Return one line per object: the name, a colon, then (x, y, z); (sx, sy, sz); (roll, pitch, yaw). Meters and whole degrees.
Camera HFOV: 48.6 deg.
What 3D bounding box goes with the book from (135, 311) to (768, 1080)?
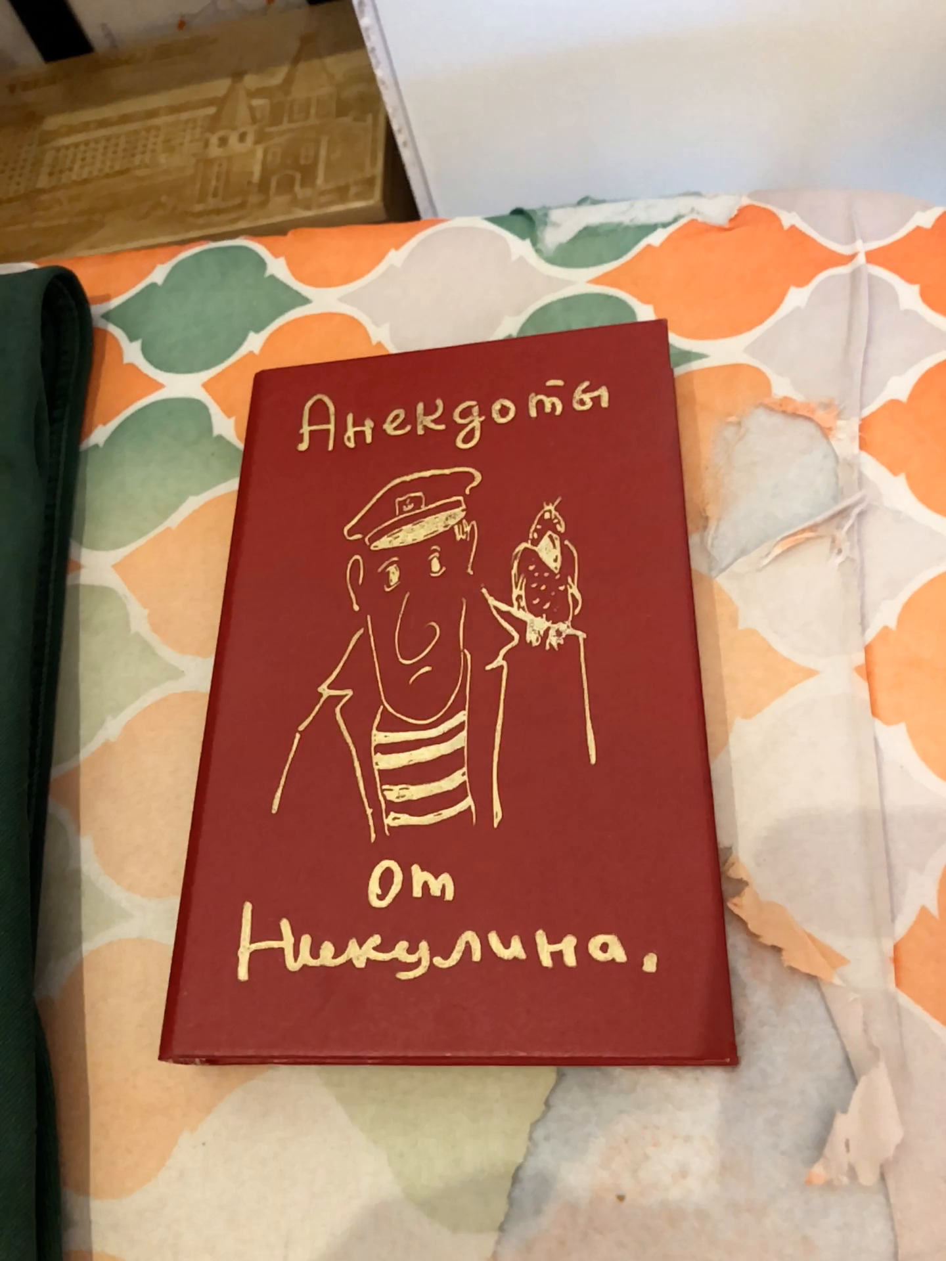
book: (-0.004, 0.009, 0.288); (0.140, 0.030, 0.208); (-5, 62, 11)
